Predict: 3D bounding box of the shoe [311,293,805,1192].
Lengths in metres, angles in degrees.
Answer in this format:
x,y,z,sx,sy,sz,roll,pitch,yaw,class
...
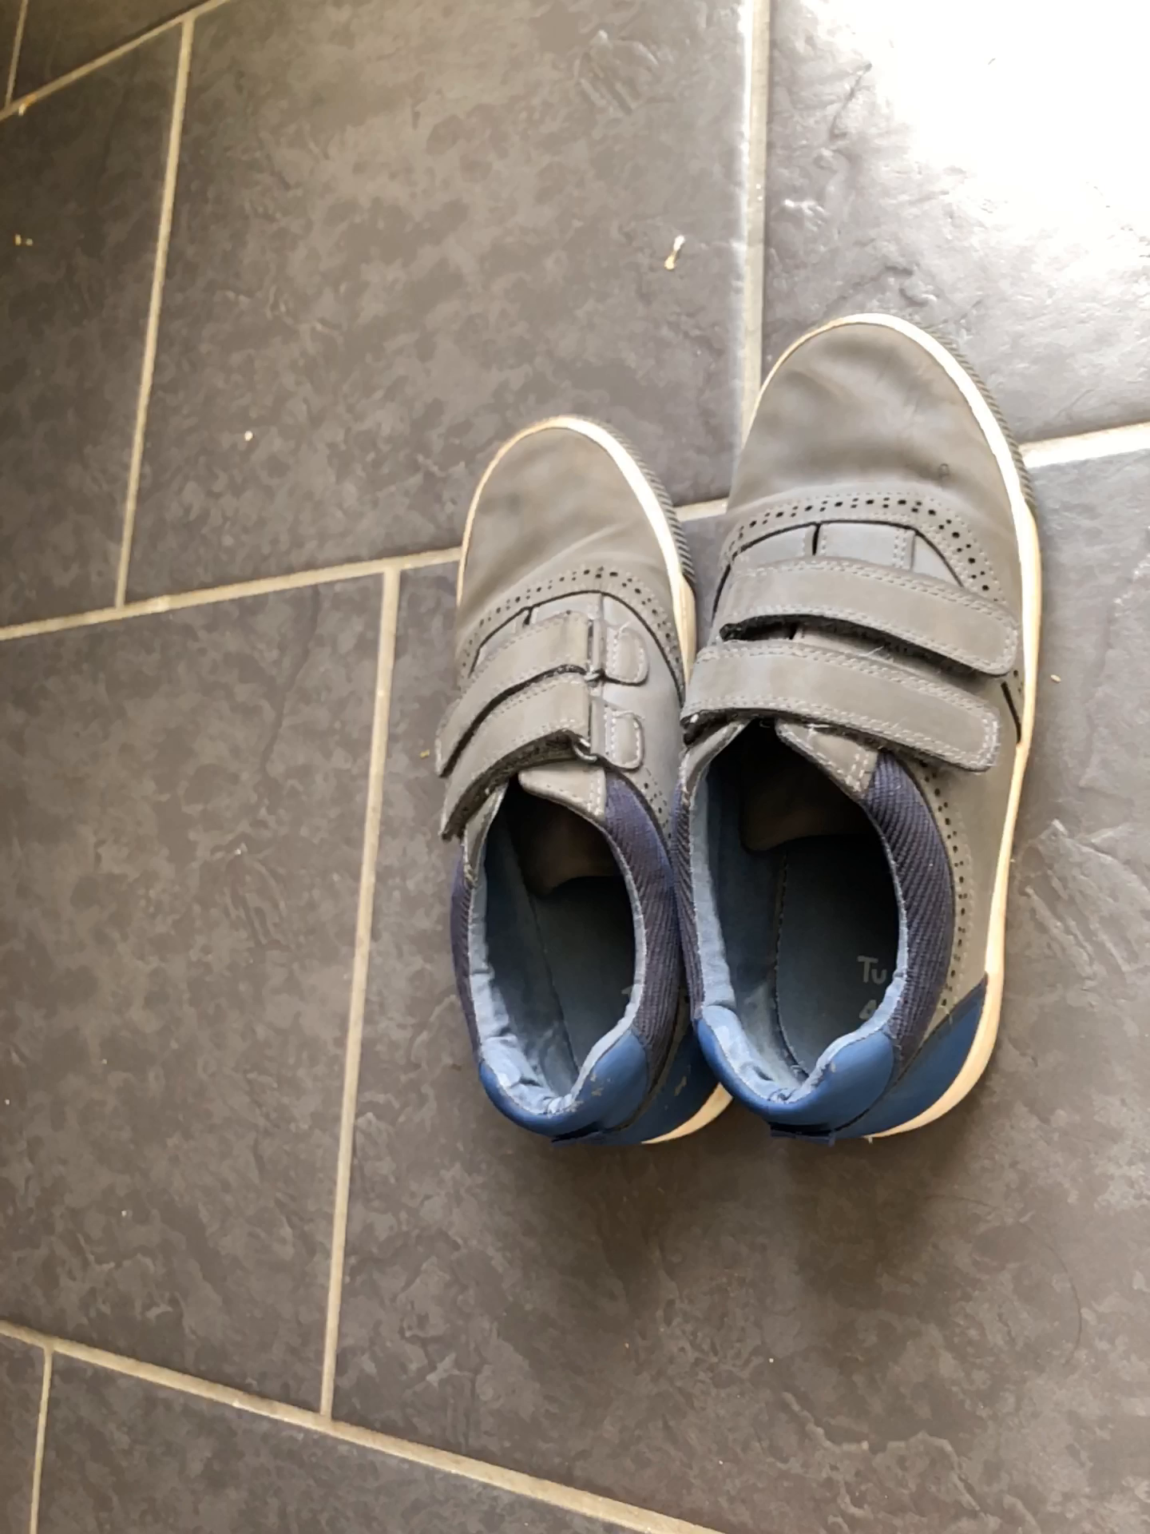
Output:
x,y,z,sx,sy,sz,roll,pitch,yaw,class
-0.012,-0.006,0.404,0.100,0.070,0.251,-19,70,29,shoe

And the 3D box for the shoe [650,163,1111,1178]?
x,y,z,sx,sy,sz,roll,pitch,yaw,class
0.082,-0.022,0.360,0.100,0.070,0.250,-6,76,32,shoe
